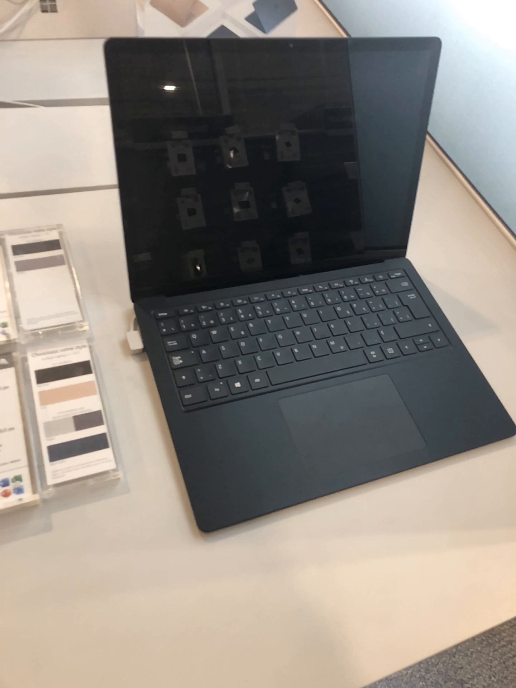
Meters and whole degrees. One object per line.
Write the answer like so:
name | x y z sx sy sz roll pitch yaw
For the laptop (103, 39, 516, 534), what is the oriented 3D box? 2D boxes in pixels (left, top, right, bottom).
laptop | 0.063 -0.073 0.469 0.309 0.197 0.314 -11 57 -20
